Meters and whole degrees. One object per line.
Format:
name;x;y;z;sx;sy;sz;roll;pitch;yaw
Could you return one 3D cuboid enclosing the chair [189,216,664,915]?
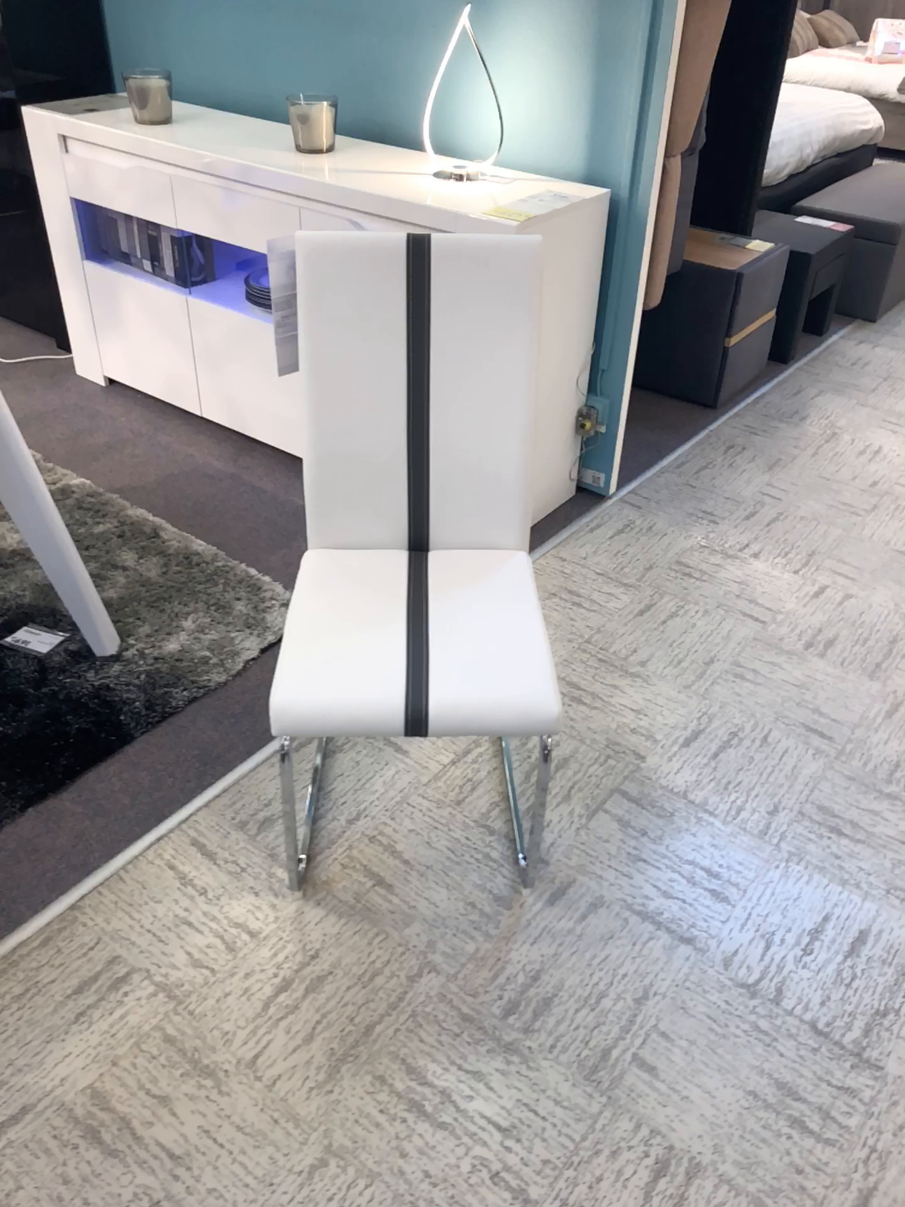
chair;-0.034;-0.049;1.494;0.487;0.877;0.573;1;35;-1
